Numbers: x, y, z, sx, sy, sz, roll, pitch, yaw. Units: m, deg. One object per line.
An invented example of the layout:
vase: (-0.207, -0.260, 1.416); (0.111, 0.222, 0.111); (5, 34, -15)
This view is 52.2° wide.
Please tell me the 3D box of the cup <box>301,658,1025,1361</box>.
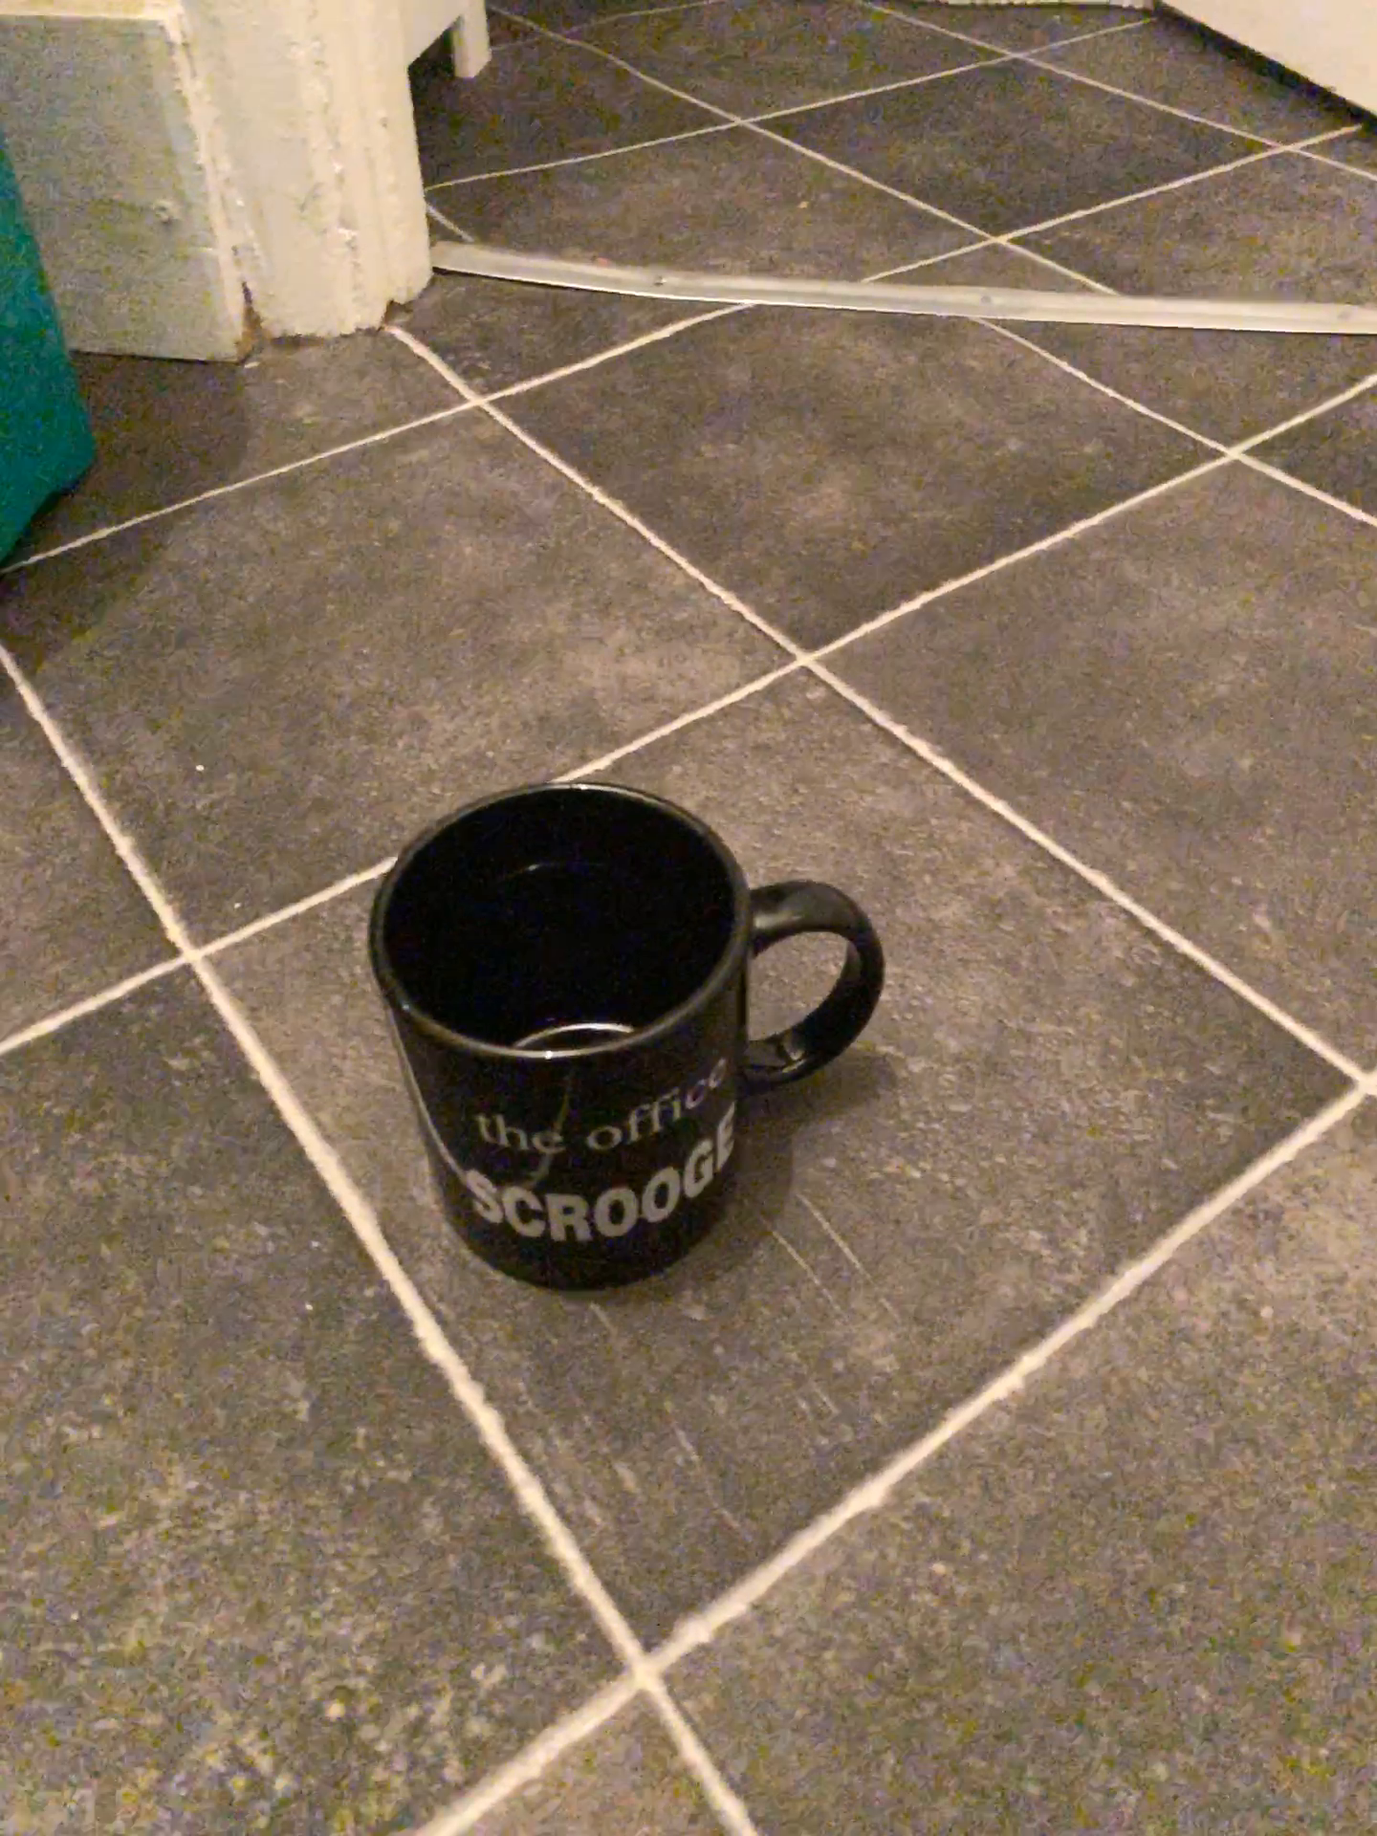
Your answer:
cup: (-0.008, 0.019, 0.336); (0.130, 0.099, 0.091); (-18, 49, -16)
